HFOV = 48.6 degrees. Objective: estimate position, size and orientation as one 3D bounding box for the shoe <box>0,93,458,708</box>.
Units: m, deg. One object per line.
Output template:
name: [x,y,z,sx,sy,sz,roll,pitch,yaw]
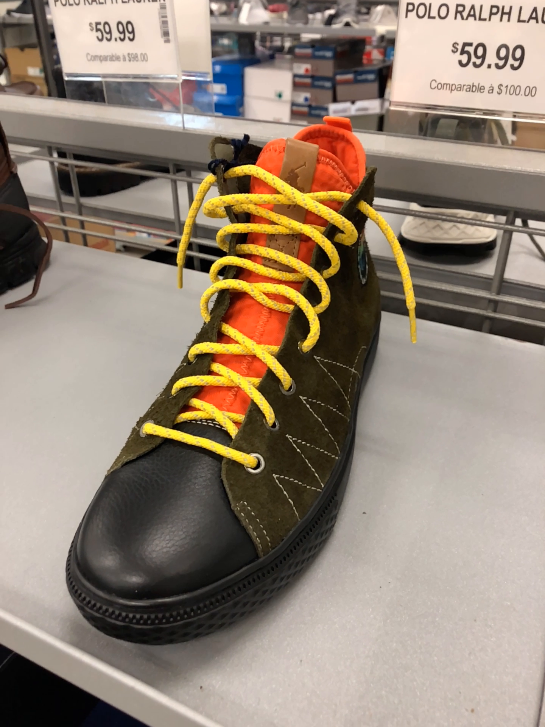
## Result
shoe: [0.001,-0.026,0.327,0.125,0.171,0.300,12,35,18]
